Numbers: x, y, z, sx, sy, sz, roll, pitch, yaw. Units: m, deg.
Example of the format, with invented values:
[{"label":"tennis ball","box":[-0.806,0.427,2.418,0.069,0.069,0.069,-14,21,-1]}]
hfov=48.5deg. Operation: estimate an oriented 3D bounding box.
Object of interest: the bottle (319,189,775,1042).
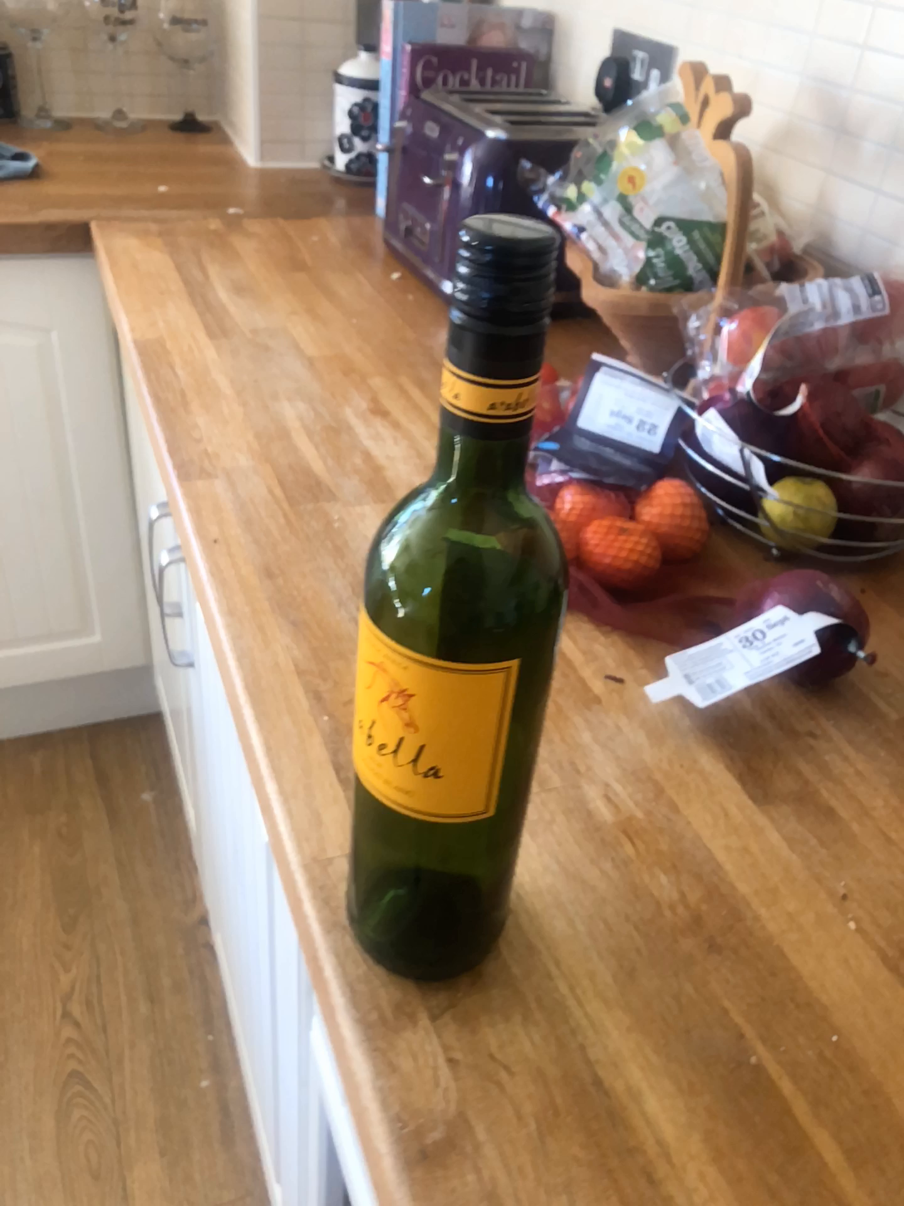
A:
[{"label":"bottle","box":[0.014,0.018,0.369,0.090,0.298,0.090,4,35,-3]}]
